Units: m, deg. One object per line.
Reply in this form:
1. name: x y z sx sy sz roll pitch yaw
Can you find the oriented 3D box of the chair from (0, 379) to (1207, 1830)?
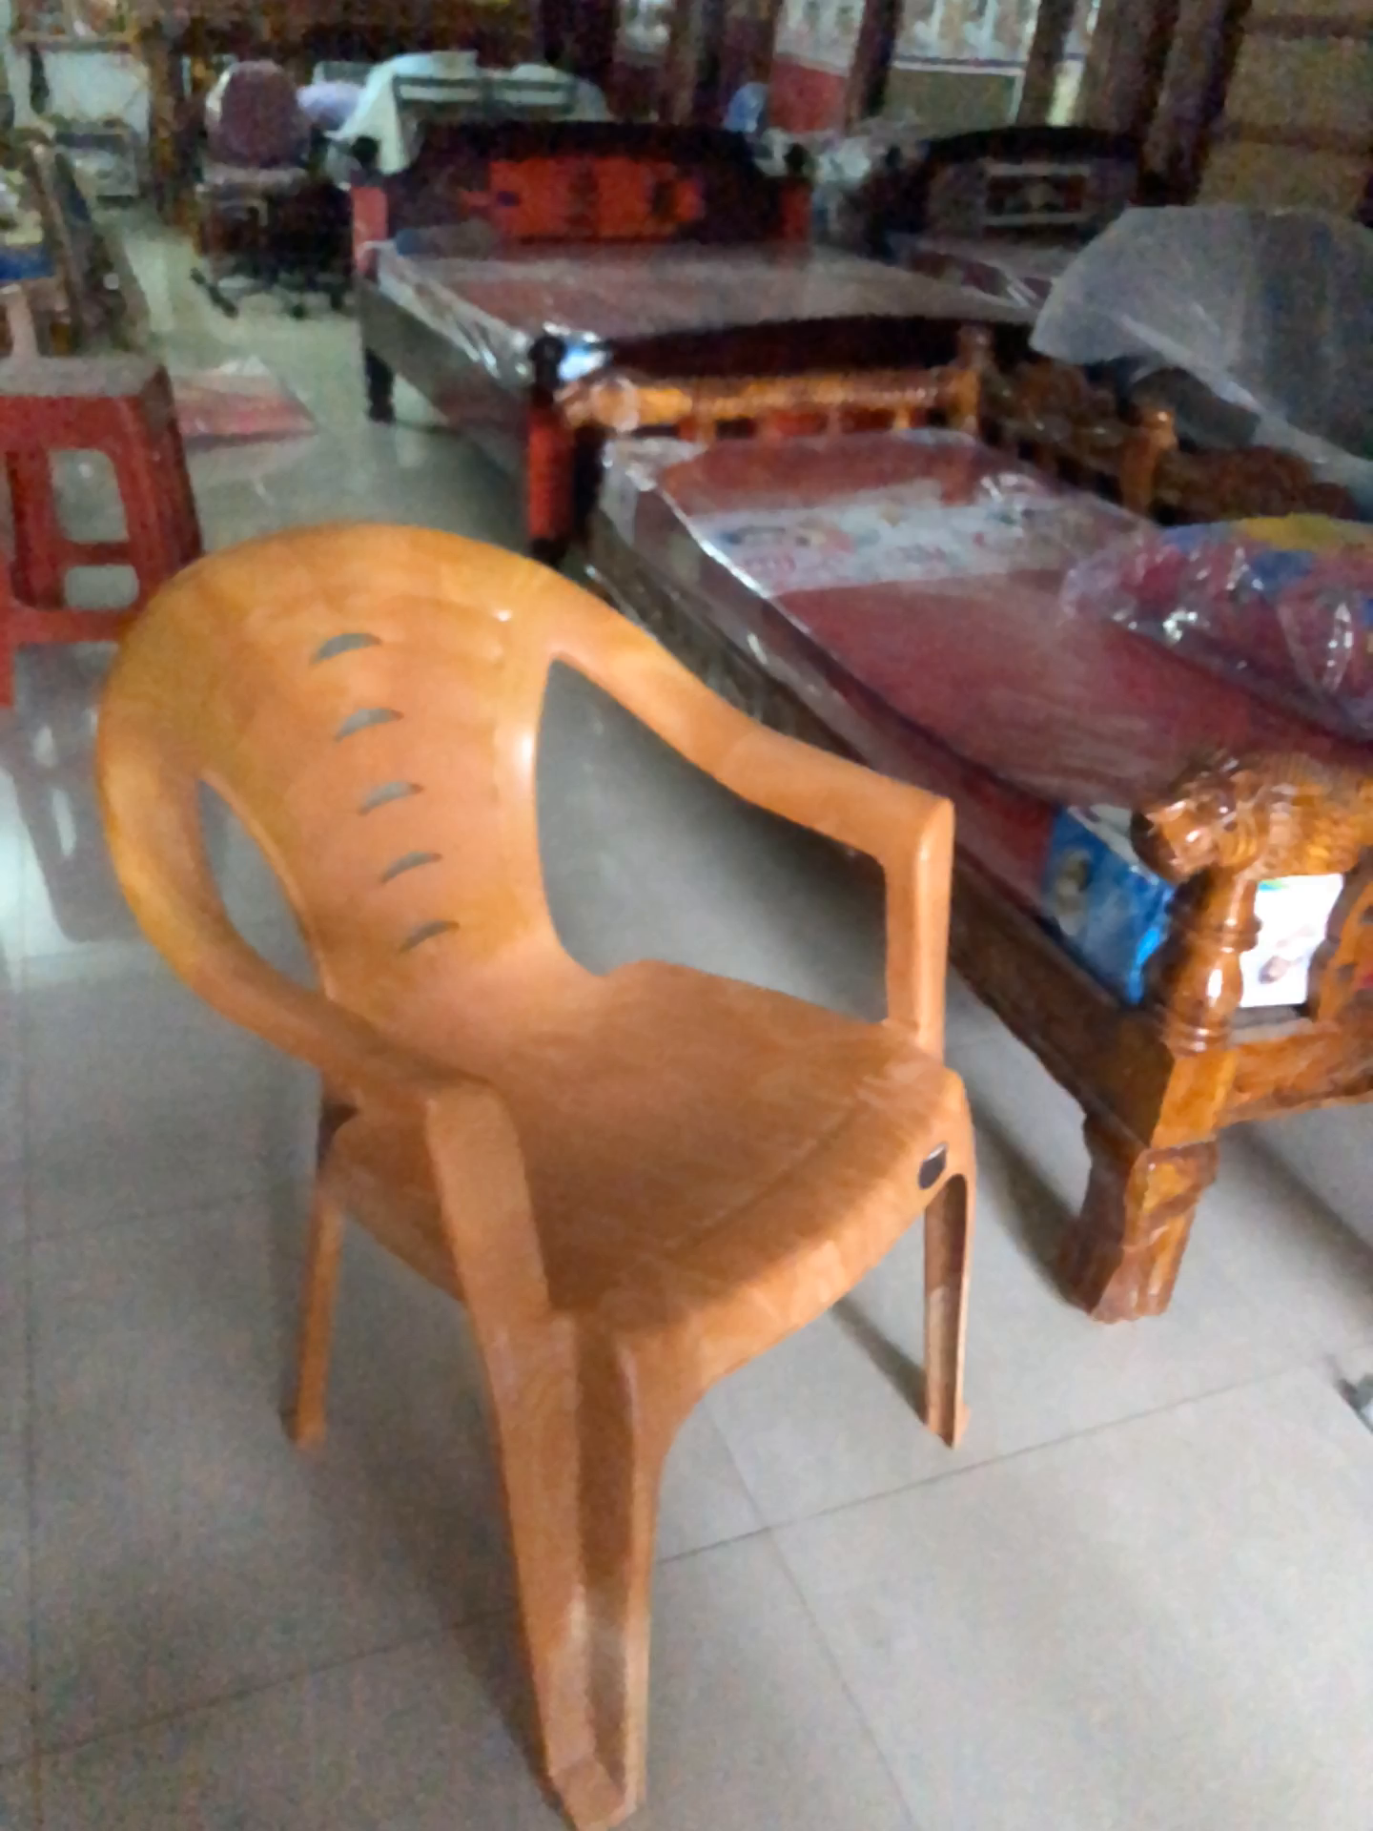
1. chair: -0.087 0.101 1.195 0.600 0.846 0.633 23 35 32
